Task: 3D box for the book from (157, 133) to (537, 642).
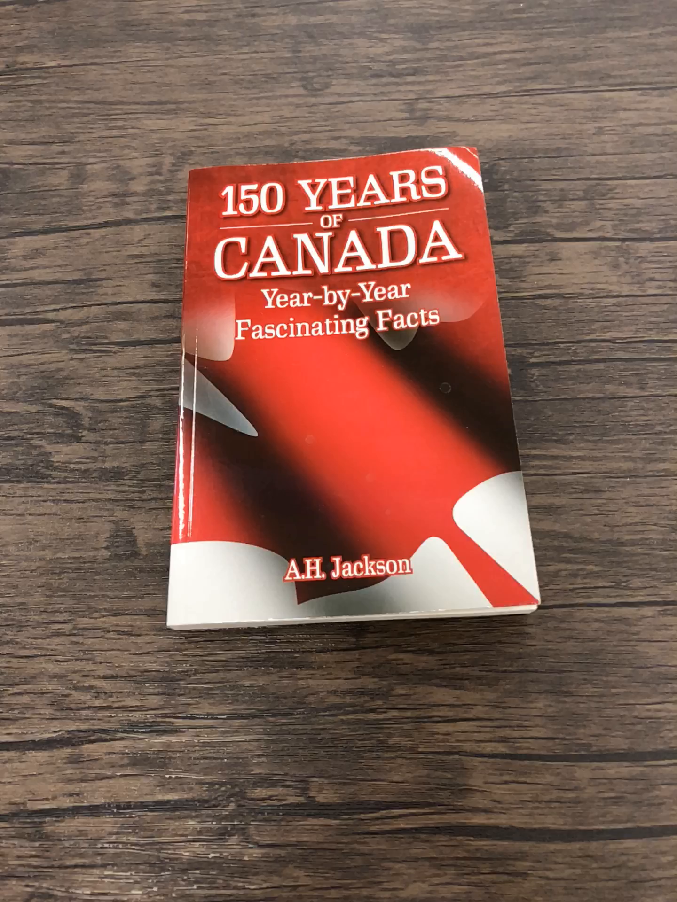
[{"bbox_3d":[-0.001,-0.033,0.306,0.130,0.025,0.206,-5,67,7],"label":"book"}]
